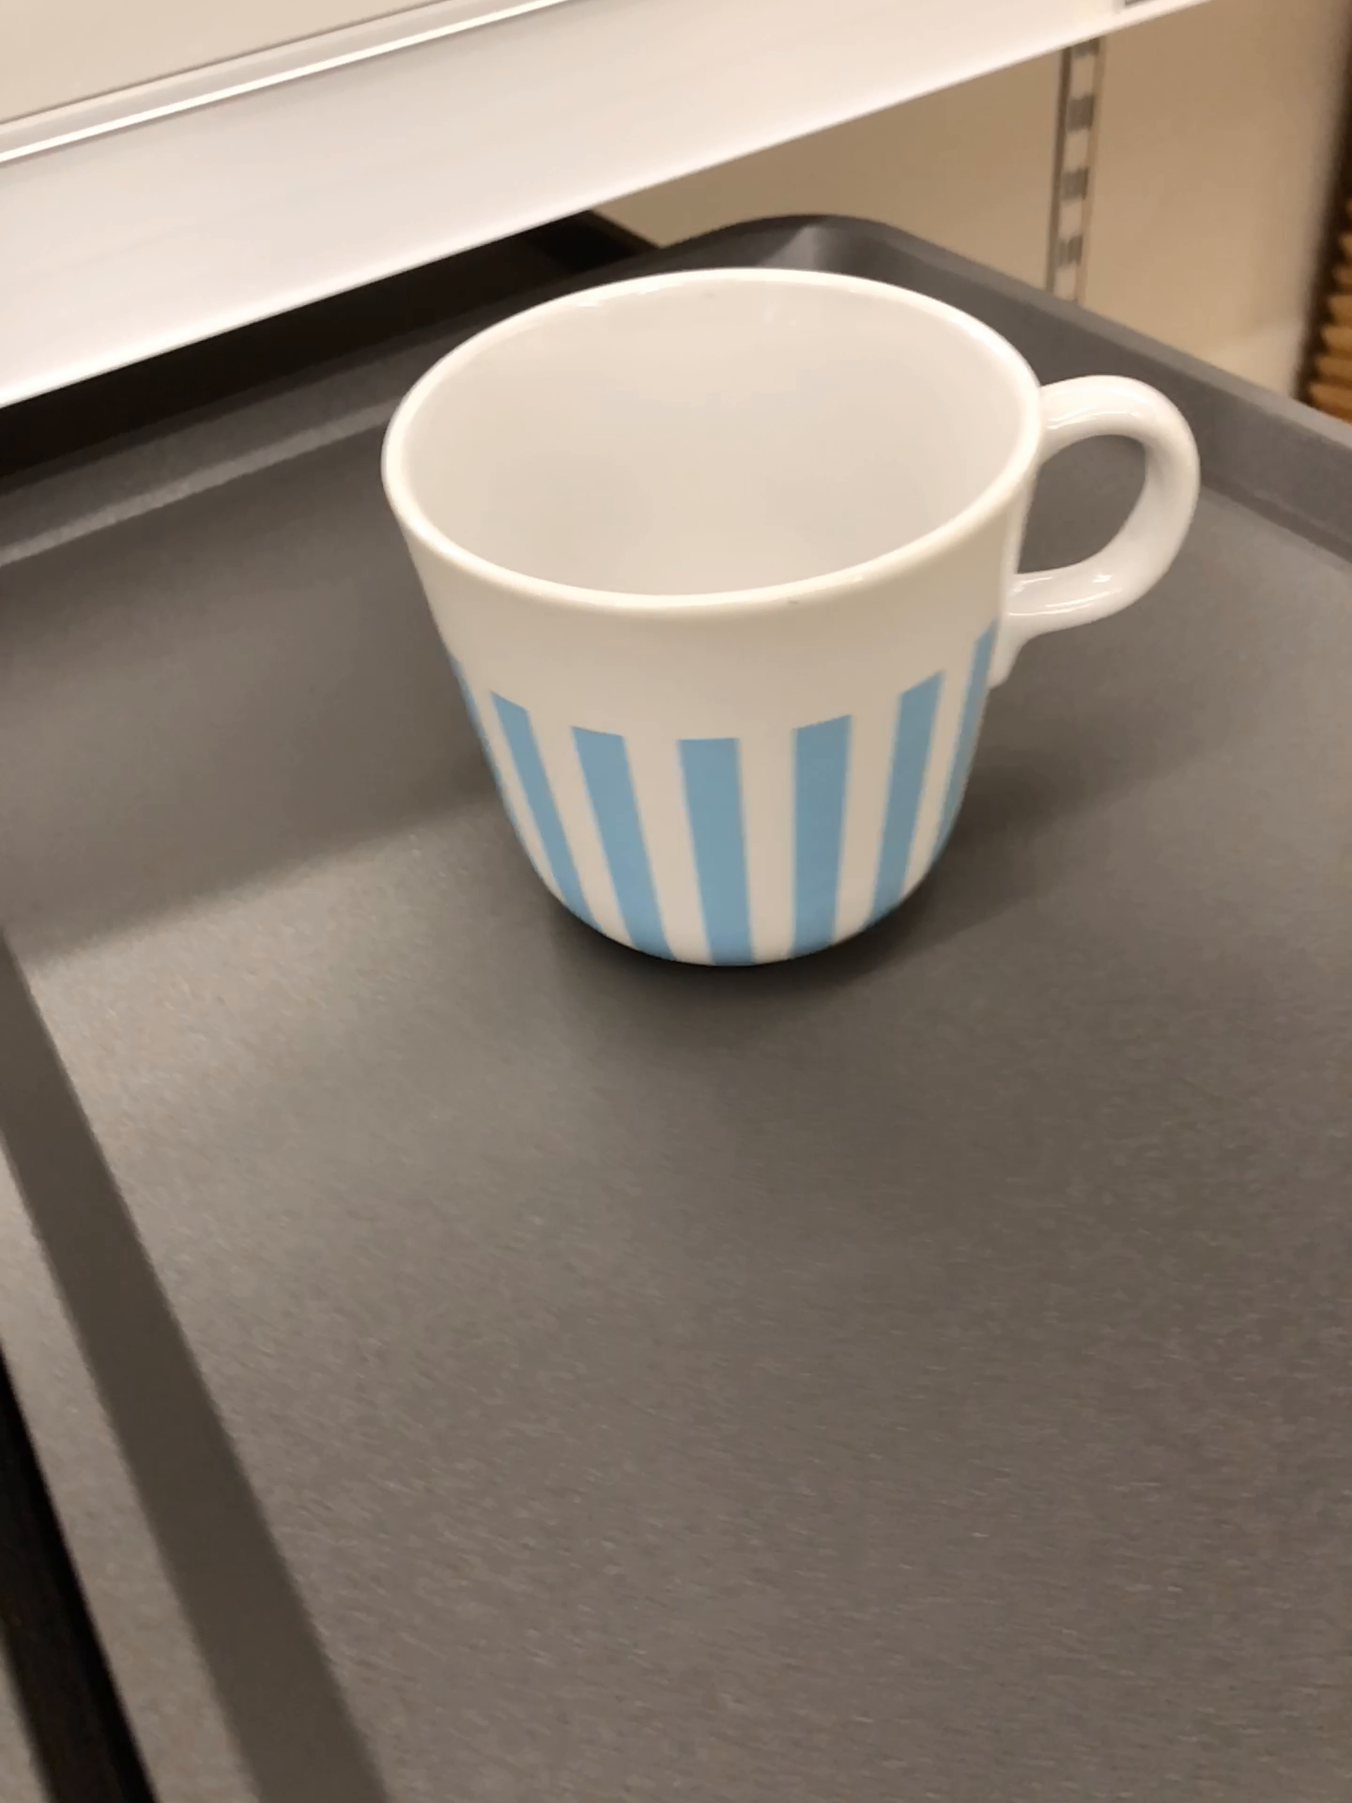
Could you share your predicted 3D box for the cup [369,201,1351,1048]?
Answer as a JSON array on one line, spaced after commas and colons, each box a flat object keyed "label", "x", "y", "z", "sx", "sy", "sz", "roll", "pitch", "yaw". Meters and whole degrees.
[{"label": "cup", "x": 0.019, "y": -0.045, "z": 0.228, "sx": 0.110, "sy": 0.070, "sz": 0.090, "roll": -11, "pitch": 43, "yaw": -5}]
